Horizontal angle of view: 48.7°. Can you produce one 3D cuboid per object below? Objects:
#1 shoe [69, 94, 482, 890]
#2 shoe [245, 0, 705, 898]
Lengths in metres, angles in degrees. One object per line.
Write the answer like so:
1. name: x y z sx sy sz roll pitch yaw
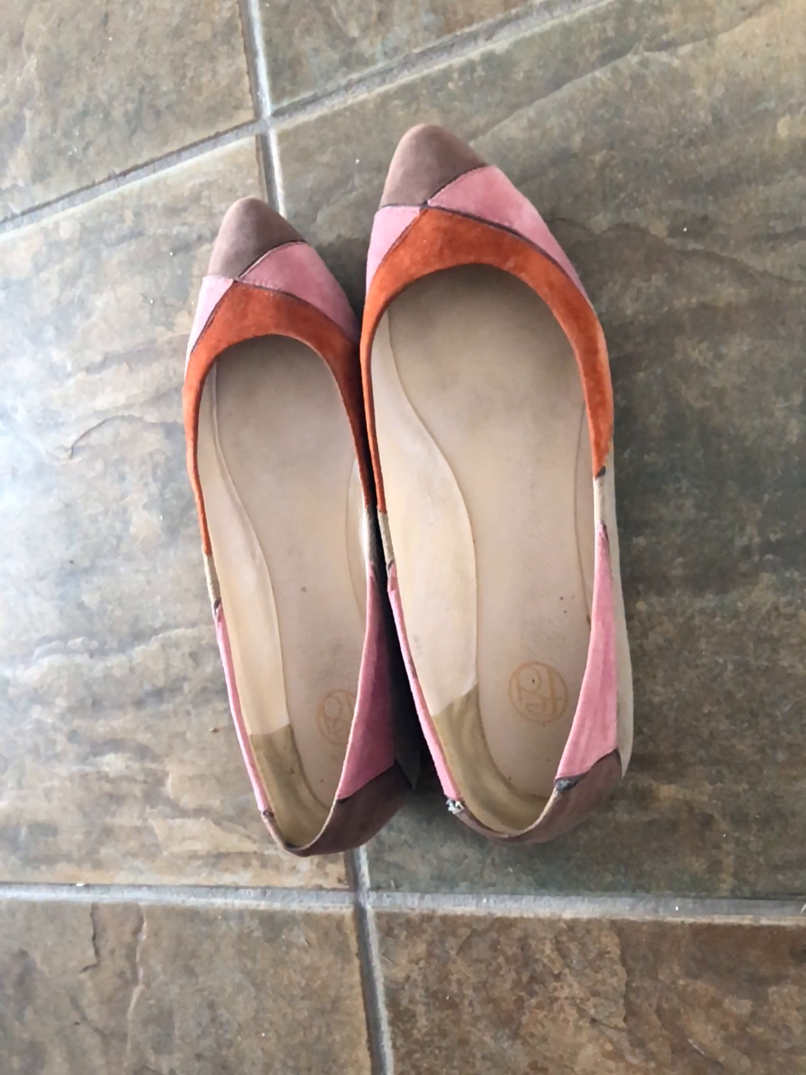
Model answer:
1. shoe: -0.049 -0.013 0.349 0.090 0.070 0.270 -13 85 25
2. shoe: 0.025 -0.028 0.303 0.090 0.070 0.270 -12 86 25
